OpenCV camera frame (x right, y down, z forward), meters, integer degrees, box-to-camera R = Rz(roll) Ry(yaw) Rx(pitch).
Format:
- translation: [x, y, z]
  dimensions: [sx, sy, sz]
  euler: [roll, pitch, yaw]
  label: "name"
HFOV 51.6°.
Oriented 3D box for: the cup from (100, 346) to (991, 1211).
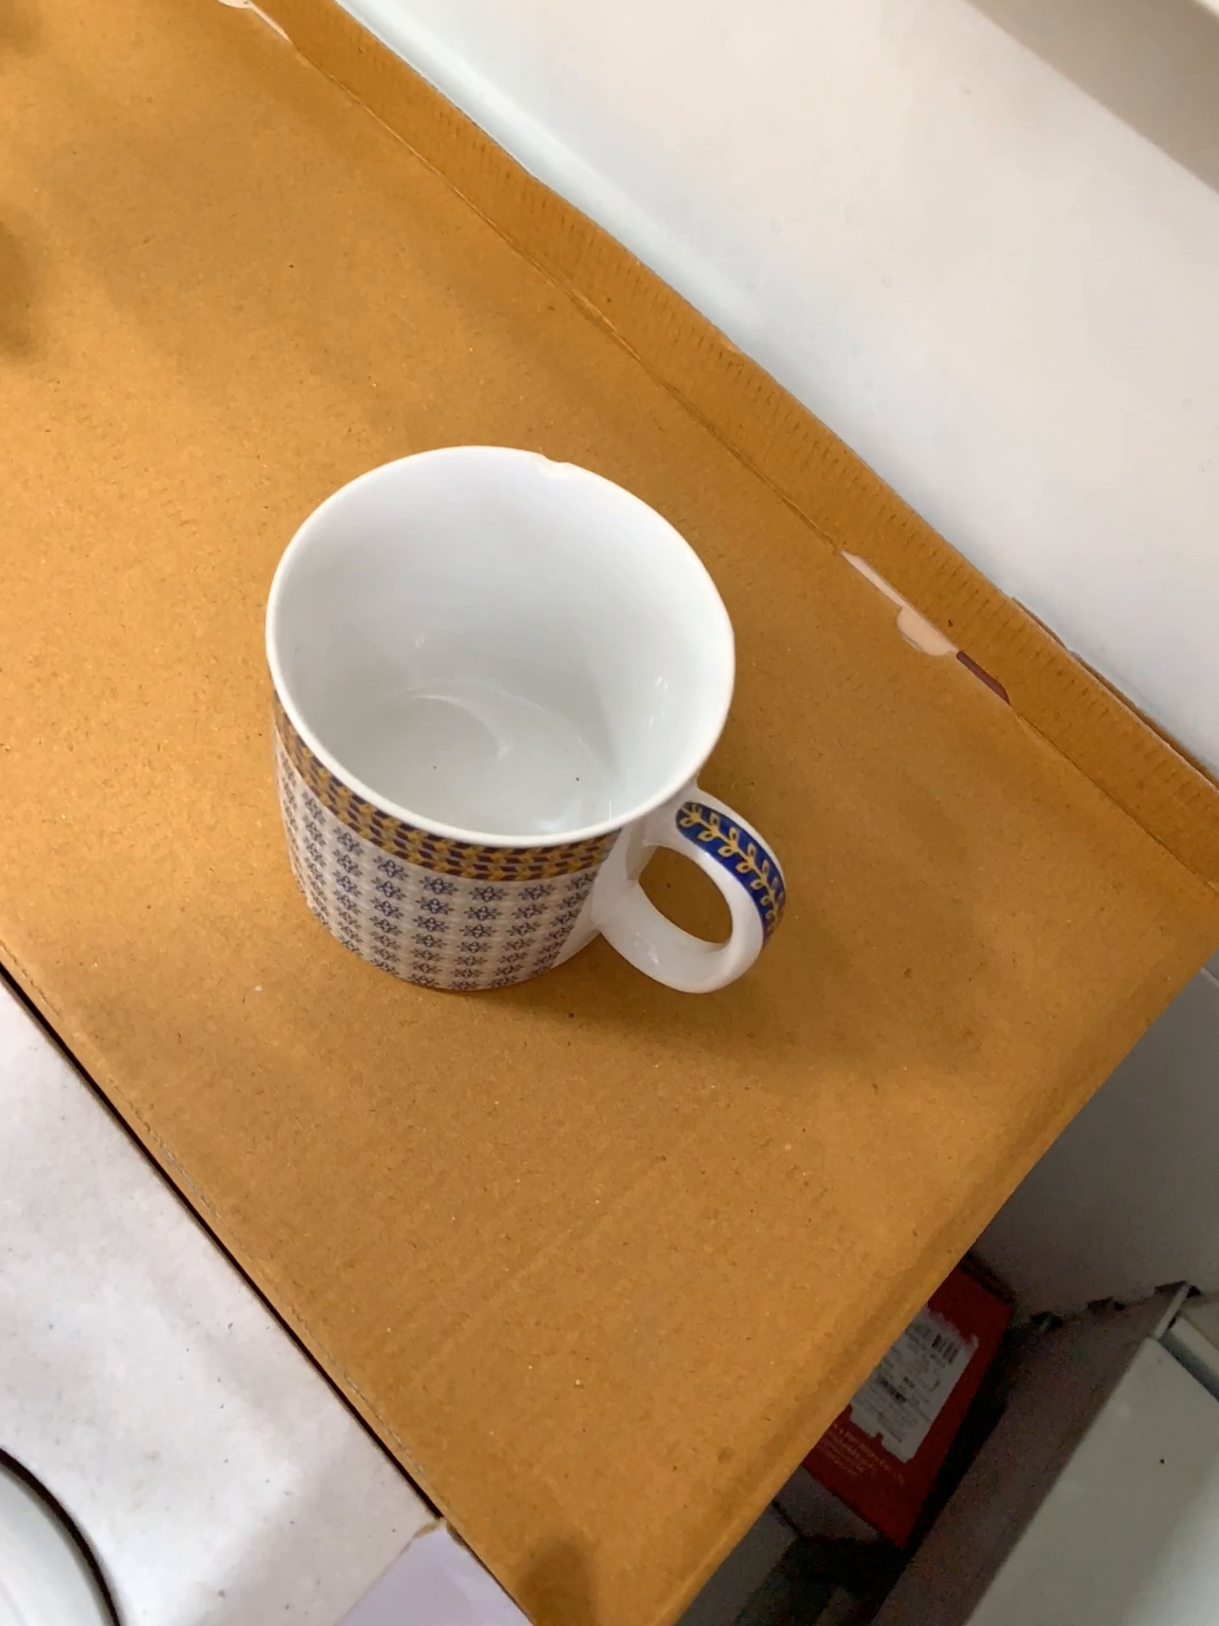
- translation: [-0.013, -0.005, 0.220]
  dimensions: [0.110, 0.070, 0.080]
  euler: [37, 59, 7]
  label: "cup"
